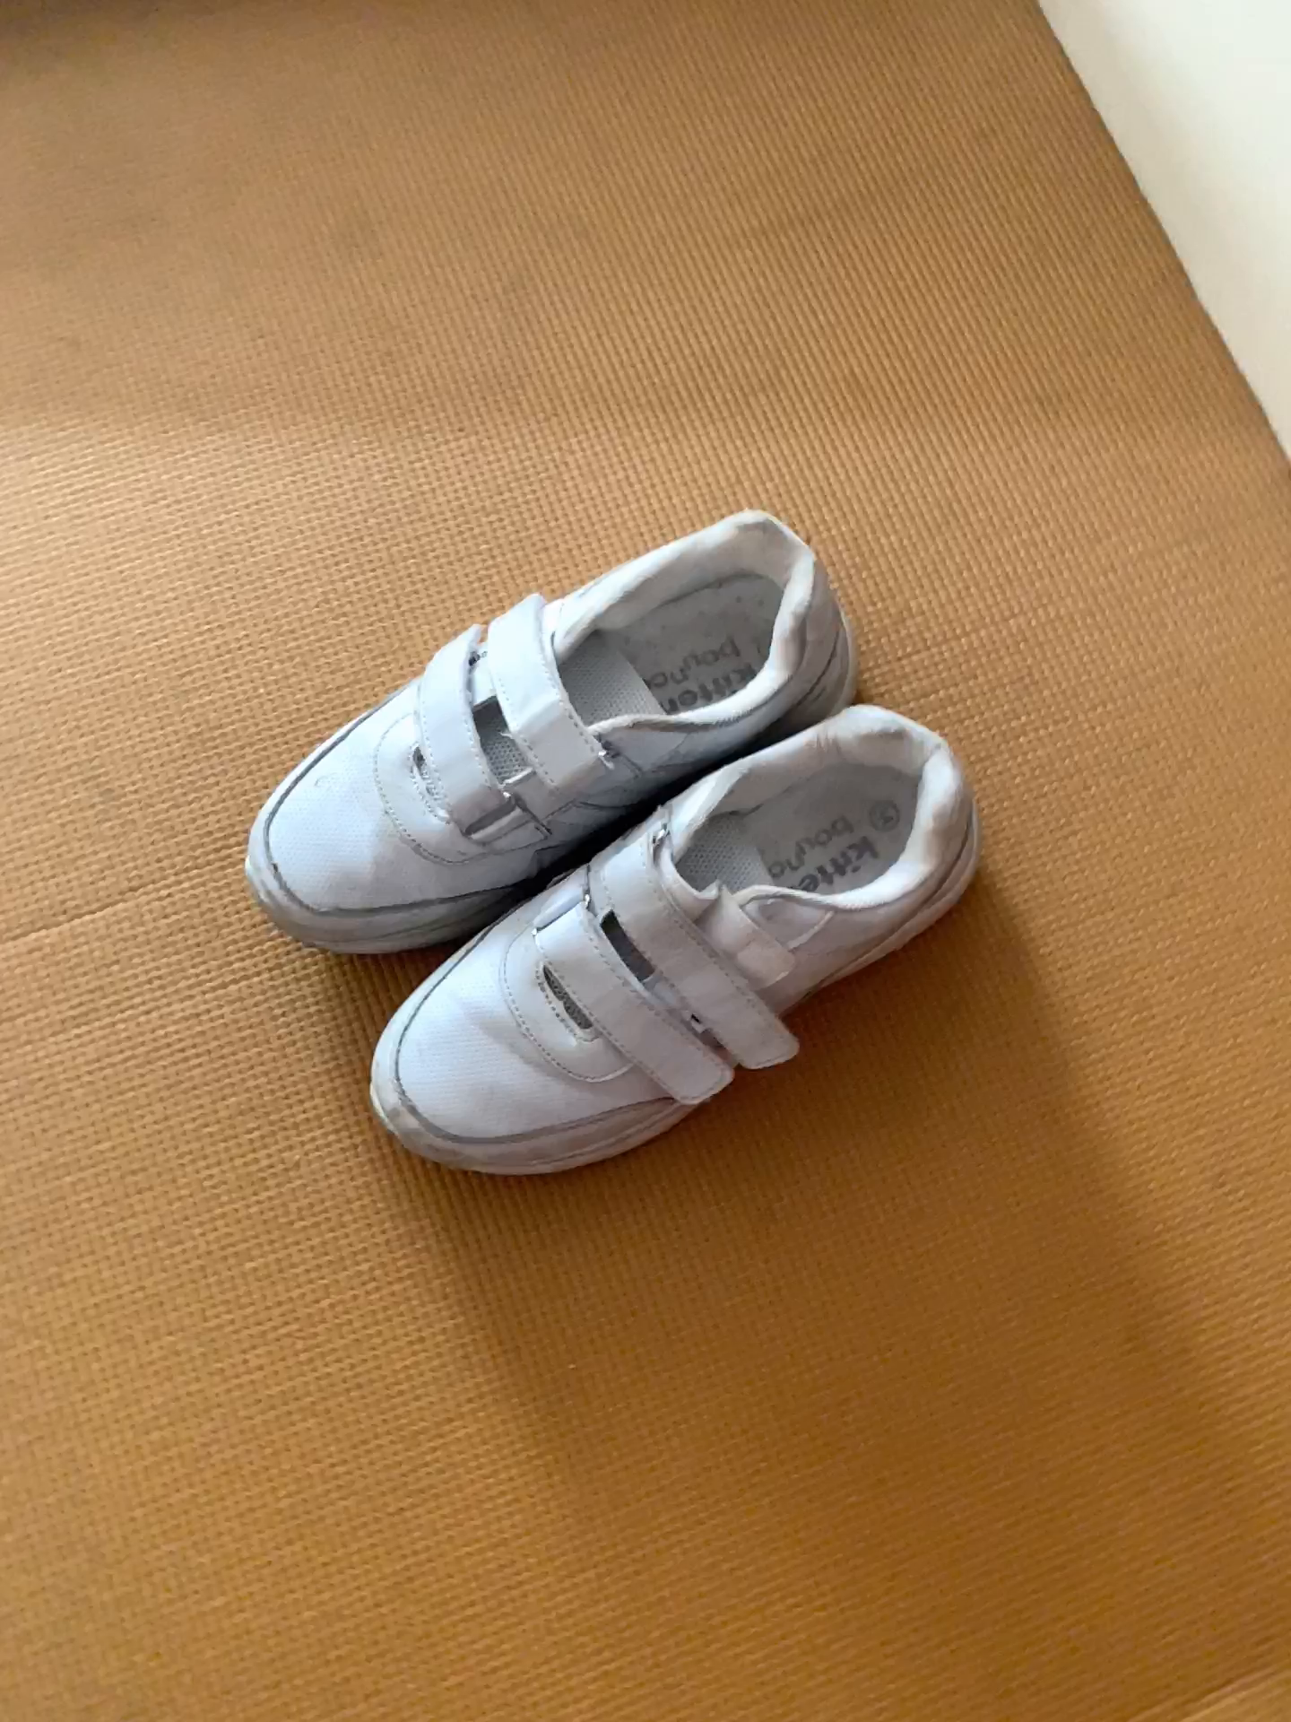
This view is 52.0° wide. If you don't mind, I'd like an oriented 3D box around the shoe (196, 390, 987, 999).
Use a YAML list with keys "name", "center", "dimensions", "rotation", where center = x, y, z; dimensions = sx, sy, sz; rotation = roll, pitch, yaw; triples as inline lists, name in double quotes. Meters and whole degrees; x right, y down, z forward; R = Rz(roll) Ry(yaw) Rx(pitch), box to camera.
- name: "shoe"
  center: [-0.016, -0.054, 0.474]
  dimensions: [0.240, 0.100, 0.090]
  rotation: [-28, 79, -7]

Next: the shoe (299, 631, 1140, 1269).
- name: "shoe"
  center: [0.025, 0.029, 0.446]
  dimensions: [0.250, 0.070, 0.090]
  rotation: [-28, 79, -7]
